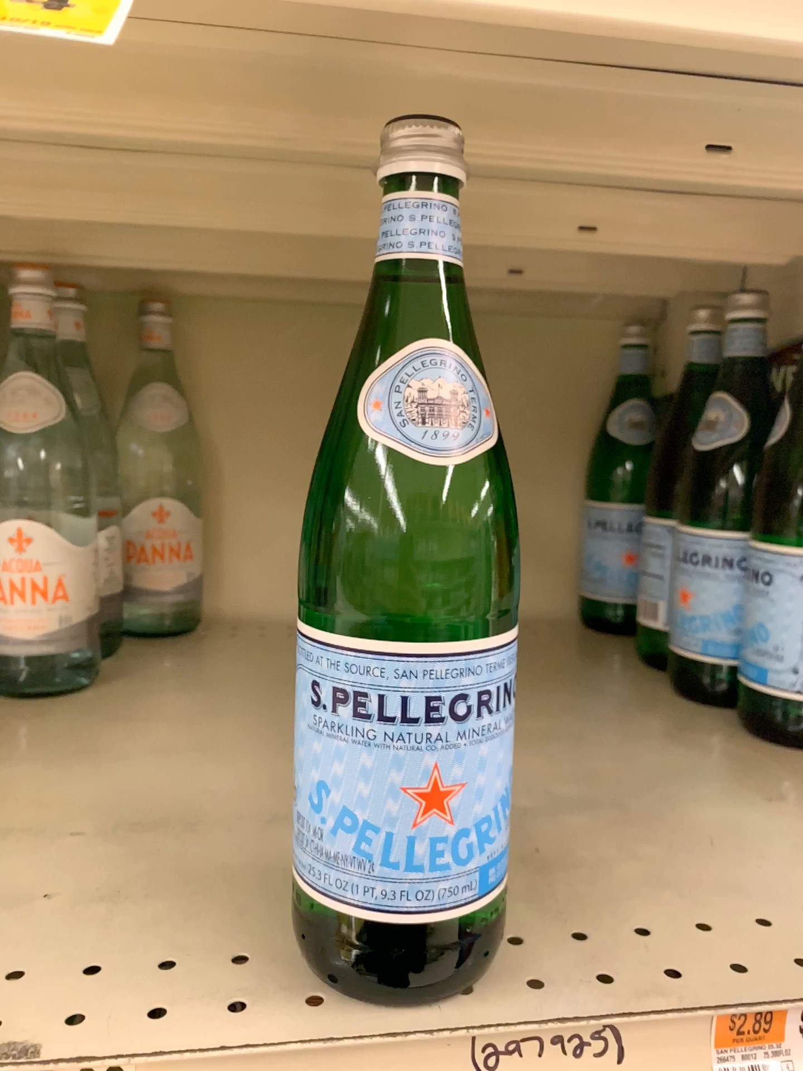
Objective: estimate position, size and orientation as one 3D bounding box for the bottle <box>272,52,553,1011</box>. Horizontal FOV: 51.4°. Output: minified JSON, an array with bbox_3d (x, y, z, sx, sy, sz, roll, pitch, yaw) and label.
[{"bbox_3d":[-0.001,0.007,0.294,0.078,0.301,0.065,2,8,-2],"label":"bottle"}]
